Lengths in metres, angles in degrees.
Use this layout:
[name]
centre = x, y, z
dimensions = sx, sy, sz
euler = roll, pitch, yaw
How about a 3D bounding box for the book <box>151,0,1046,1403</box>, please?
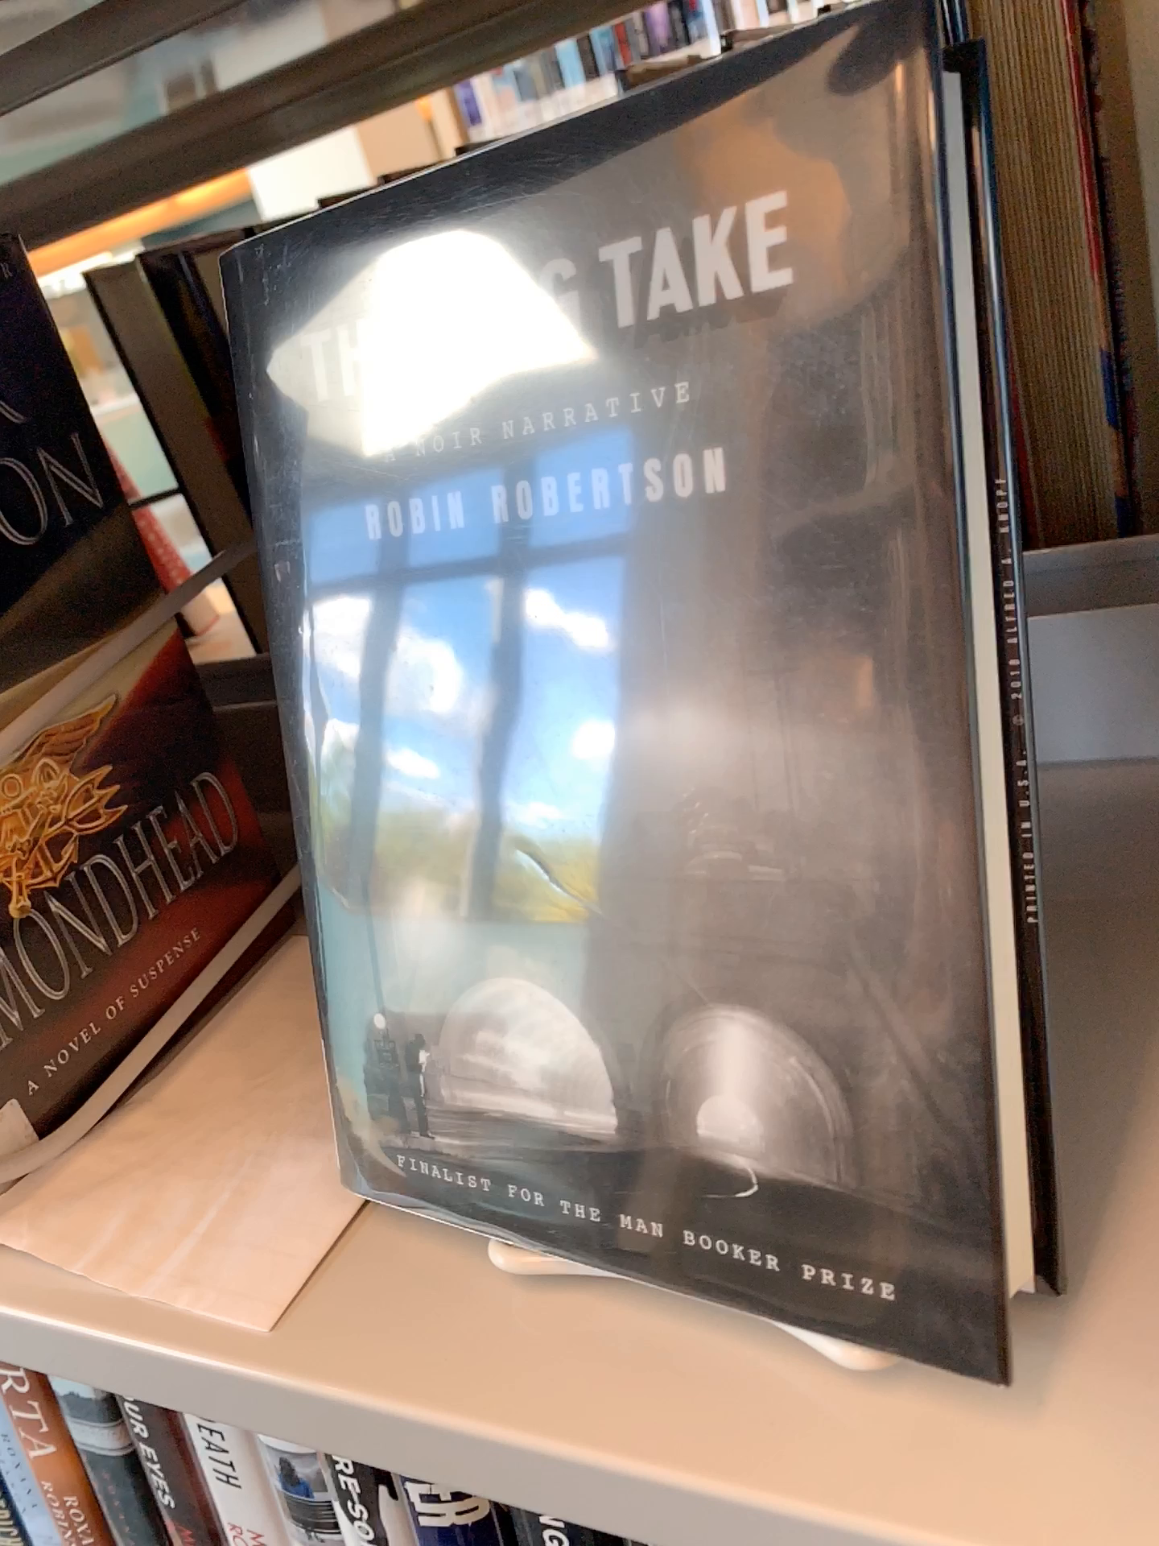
[book]
centre = -0.003, -0.008, 0.234
dimensions = 0.161, 0.206, 0.040
euler = 0, 9, 36
